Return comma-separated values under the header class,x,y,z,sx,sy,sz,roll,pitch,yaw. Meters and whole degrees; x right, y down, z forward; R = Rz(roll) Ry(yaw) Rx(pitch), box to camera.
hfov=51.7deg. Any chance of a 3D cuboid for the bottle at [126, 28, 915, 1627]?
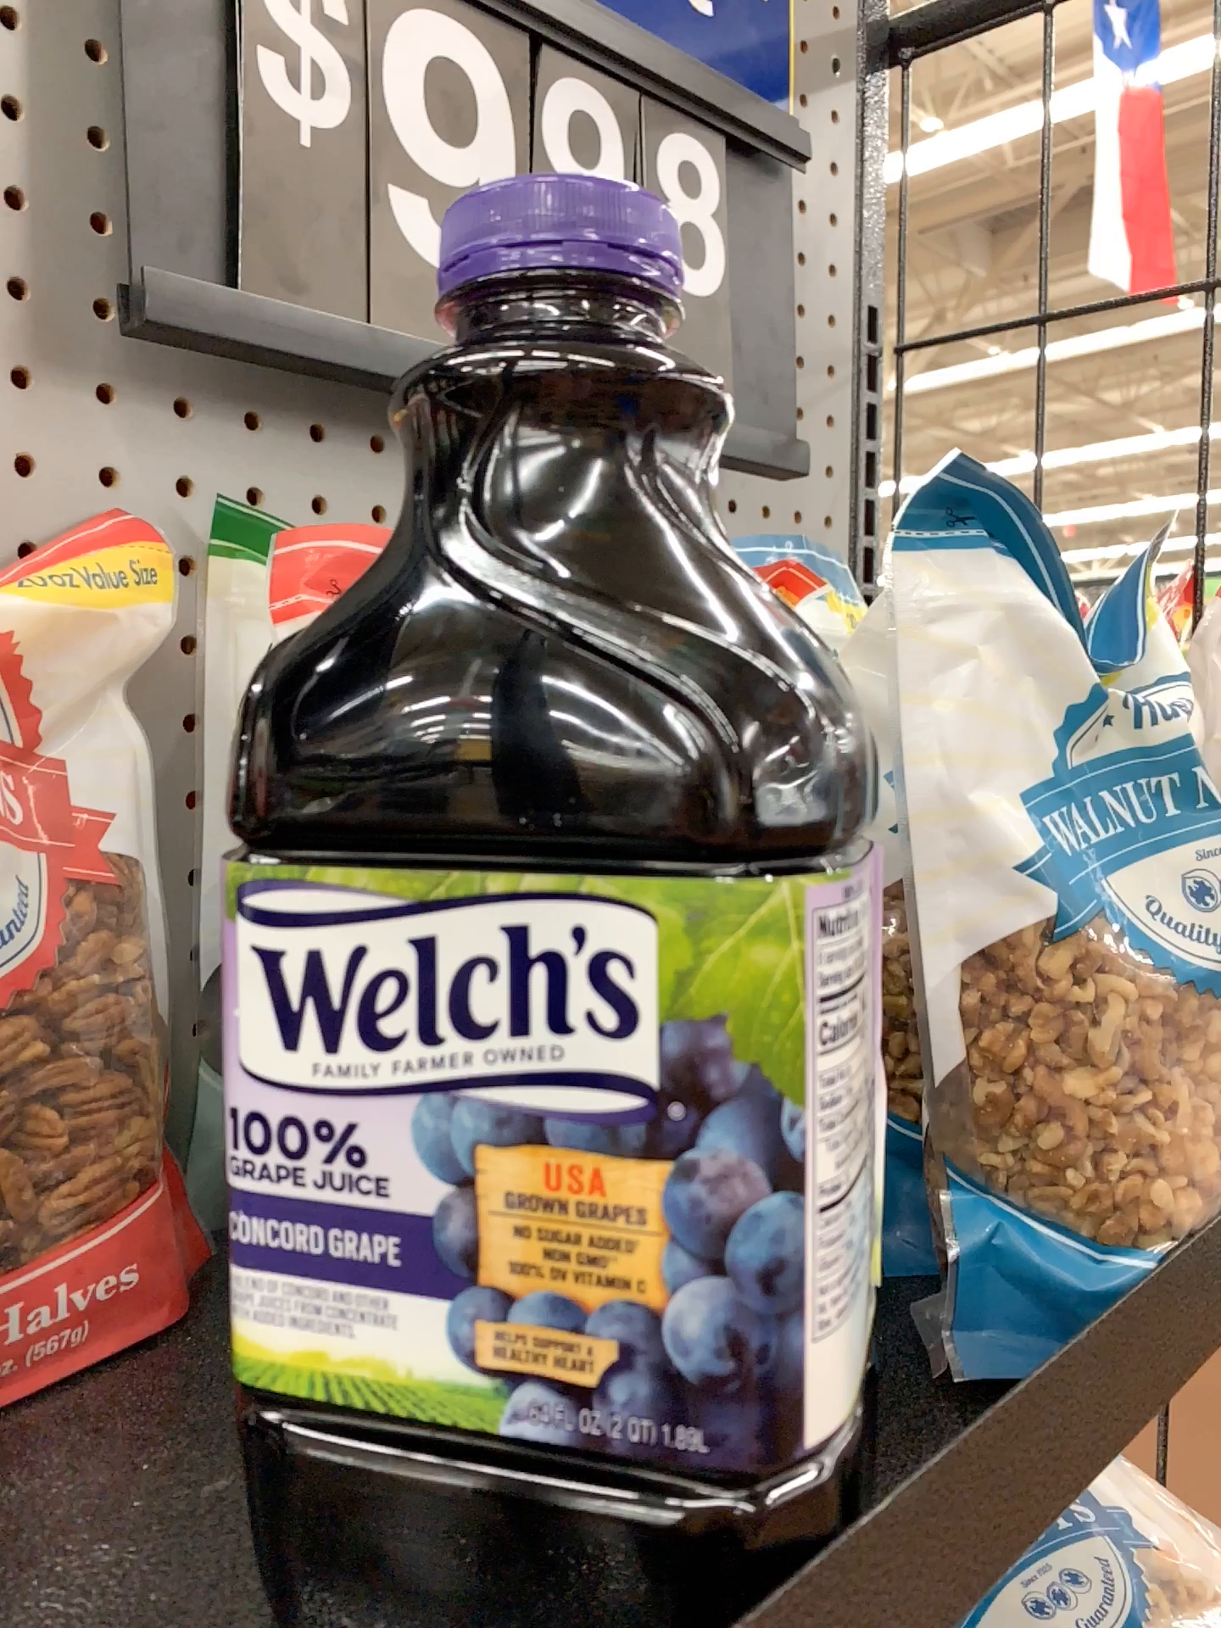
class,x,y,z,sx,sy,sz,roll,pitch,yaw
bottle,-0.007,0.018,0.247,0.120,0.260,0.100,0,3,19
